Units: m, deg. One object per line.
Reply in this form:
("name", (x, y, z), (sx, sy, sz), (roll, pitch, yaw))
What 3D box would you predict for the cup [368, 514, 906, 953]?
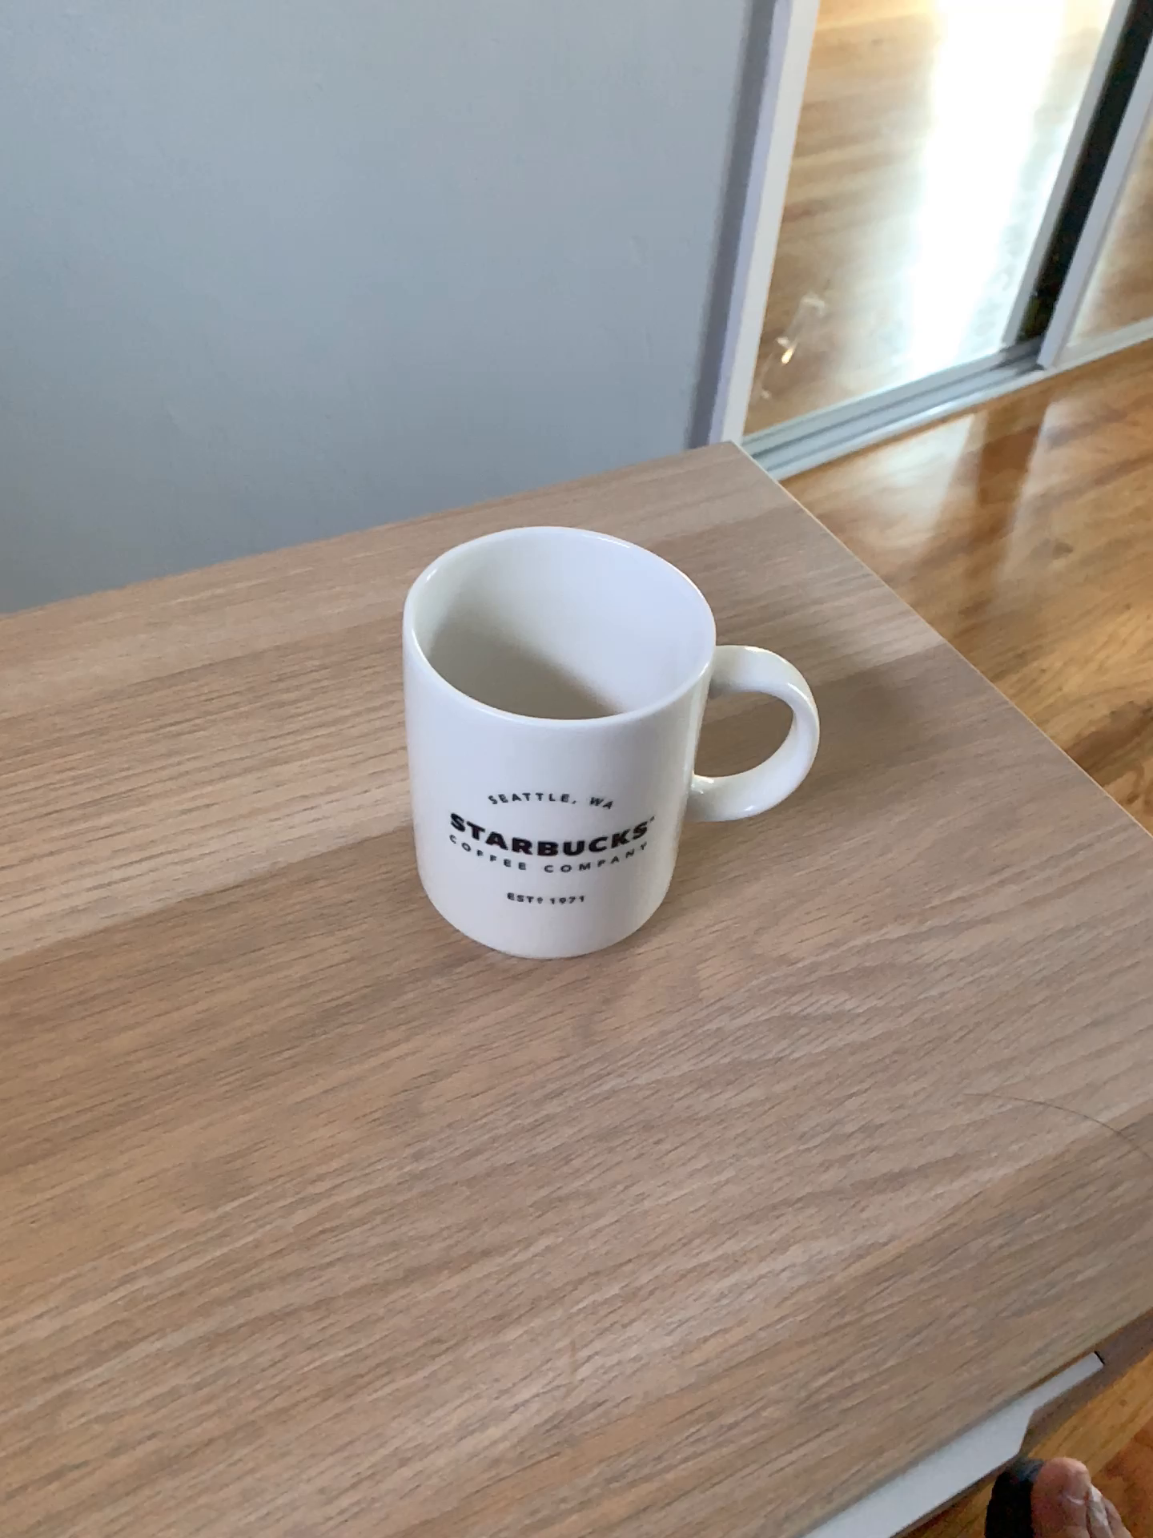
("cup", (0.011, -0.011, 0.348), (0.130, 0.080, 0.100), (0, 46, -4))
